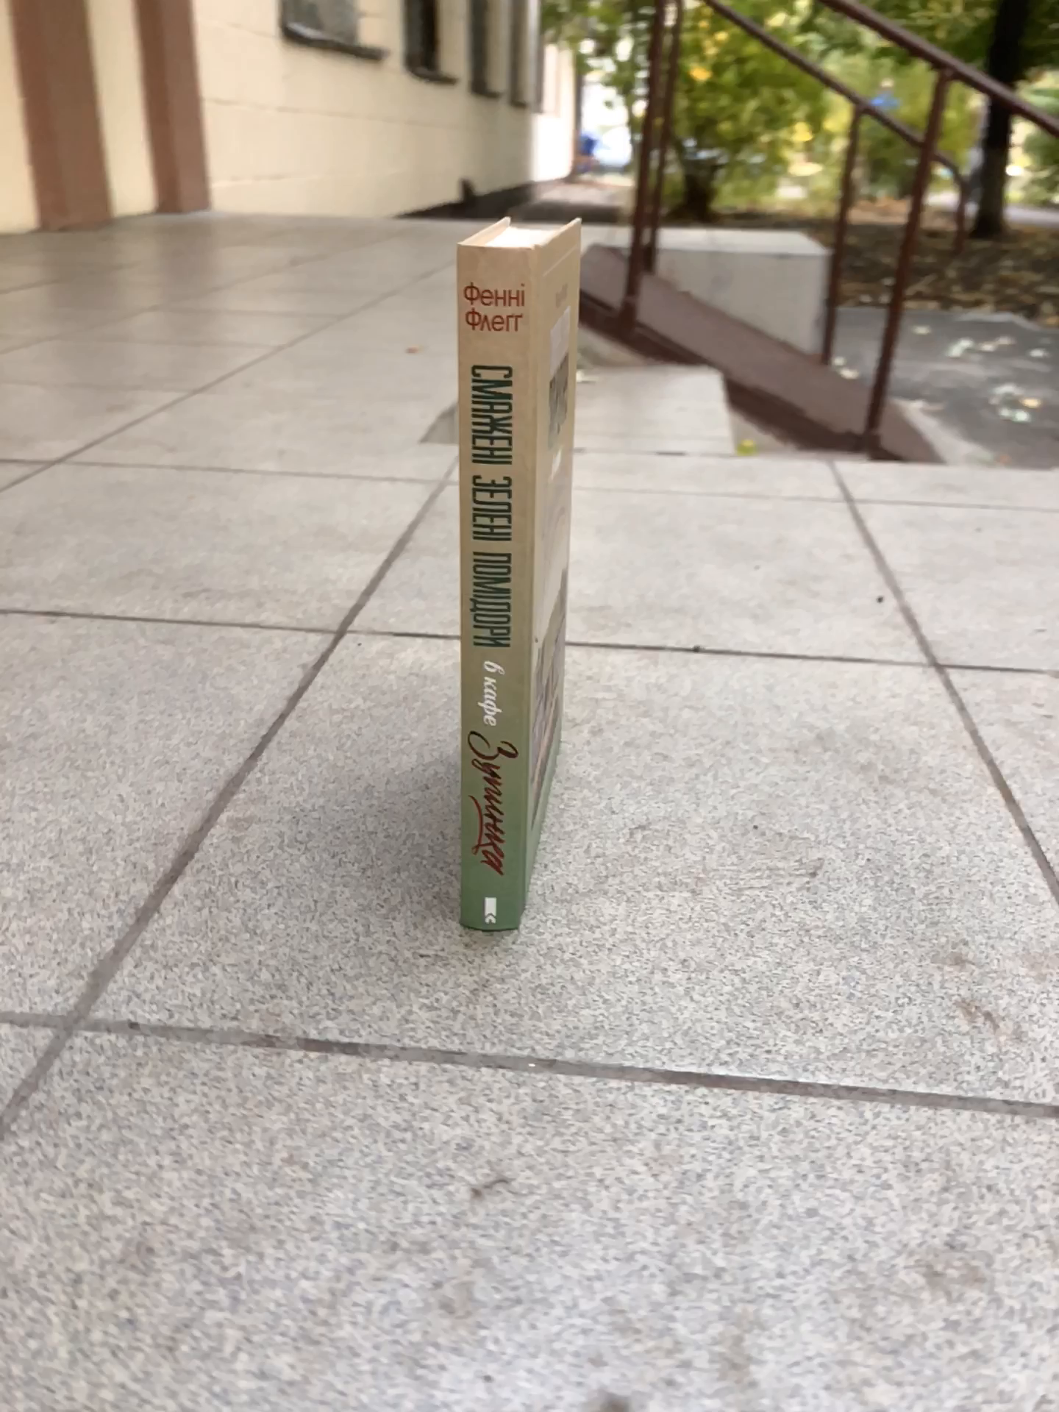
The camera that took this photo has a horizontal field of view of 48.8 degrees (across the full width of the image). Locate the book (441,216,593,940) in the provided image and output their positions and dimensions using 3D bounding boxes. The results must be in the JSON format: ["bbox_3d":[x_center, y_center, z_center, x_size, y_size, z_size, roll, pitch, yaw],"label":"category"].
[{"bbox_3d":[-0.001,-0.050,0.397,0.030,0.209,0.141,3,25,5],"label":"book"}]
